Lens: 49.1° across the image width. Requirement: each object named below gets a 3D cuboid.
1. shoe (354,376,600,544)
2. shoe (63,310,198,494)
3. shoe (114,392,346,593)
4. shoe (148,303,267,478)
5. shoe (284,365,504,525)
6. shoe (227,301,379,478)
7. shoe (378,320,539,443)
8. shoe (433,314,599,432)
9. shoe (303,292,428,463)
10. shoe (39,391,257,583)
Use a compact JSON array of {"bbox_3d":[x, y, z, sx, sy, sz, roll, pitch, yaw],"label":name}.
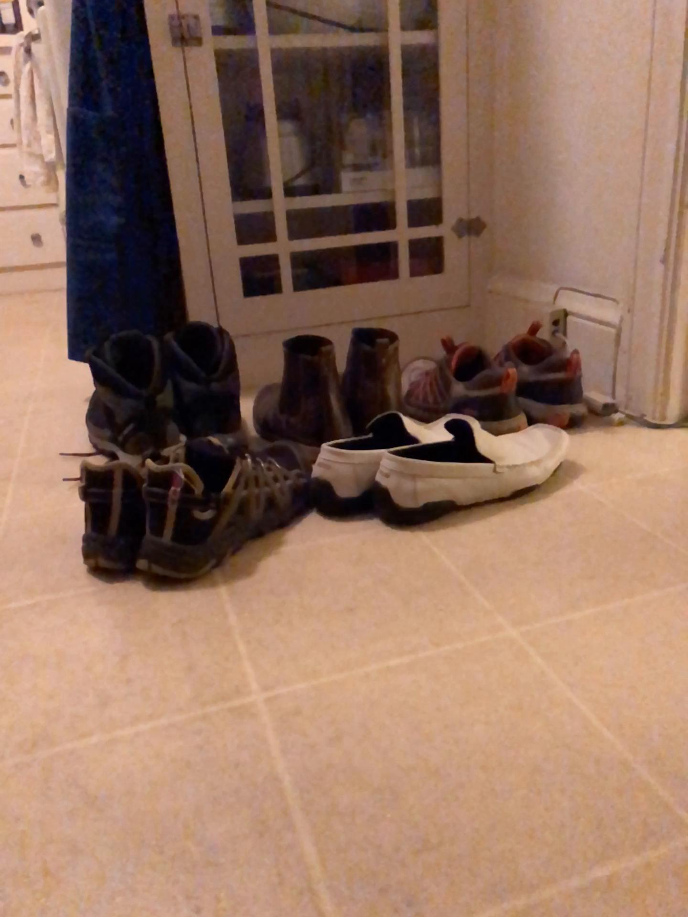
[{"bbox_3d":[0.171,-0.009,0.940,0.304,0.113,0.111,-17,24,-30],"label":"shoe"},{"bbox_3d":[-0.333,-0.101,1.147,0.110,0.192,0.324,-13,23,-23],"label":"shoe"},{"bbox_3d":[-0.118,0.024,0.898,0.110,0.122,0.294,7,24,27],"label":"shoe"},{"bbox_3d":[-0.225,-0.124,1.204,0.110,0.192,0.325,-10,22,-17],"label":"shoe"},{"bbox_3d":[0.078,-0.030,1.007,0.304,0.113,0.110,-22,27,-39],"label":"shoe"},{"bbox_3d":[-0.073,-0.123,1.184,0.110,0.192,0.324,-12,22,-22],"label":"shoe"},{"bbox_3d":[0.170,-0.135,1.202,0.110,0.113,0.314,-11,22,-19],"label":"shoe"},{"bbox_3d":[0.270,-0.152,1.244,0.110,0.113,0.314,-11,22,-19],"label":"shoe"},{"bbox_3d":[0.026,-0.145,1.217,0.110,0.192,0.325,-8,21,-12],"label":"shoe"},{"bbox_3d":[-0.219,0.019,0.920,0.110,0.122,0.294,3,22,17],"label":"shoe"}]
